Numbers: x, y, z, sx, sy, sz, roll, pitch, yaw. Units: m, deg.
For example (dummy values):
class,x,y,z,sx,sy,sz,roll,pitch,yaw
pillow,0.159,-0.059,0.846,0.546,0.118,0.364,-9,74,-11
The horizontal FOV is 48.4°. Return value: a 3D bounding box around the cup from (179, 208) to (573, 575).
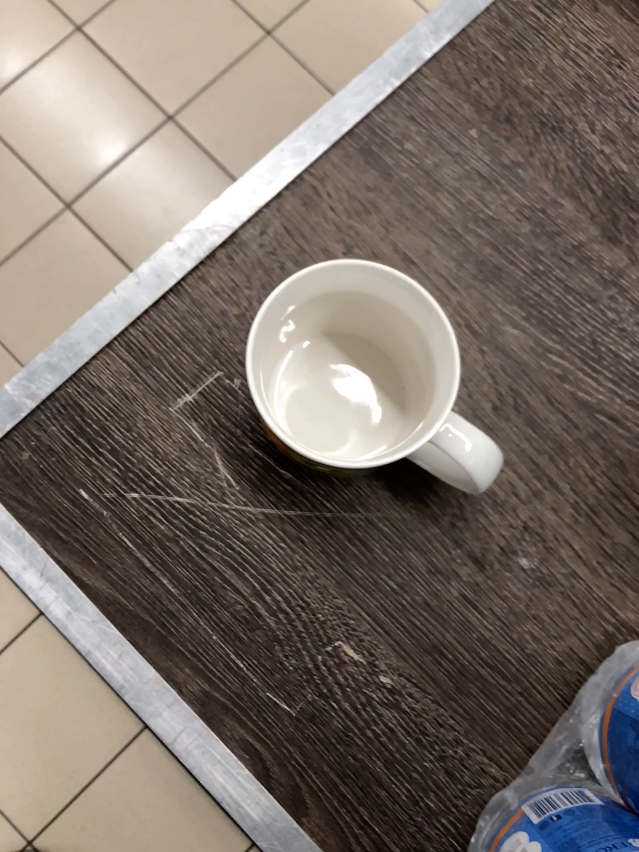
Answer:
class,x,y,z,sx,sy,sz,roll,pitch,yaw
cup,0.022,-0.010,0.322,0.126,0.086,0.091,34,82,3
